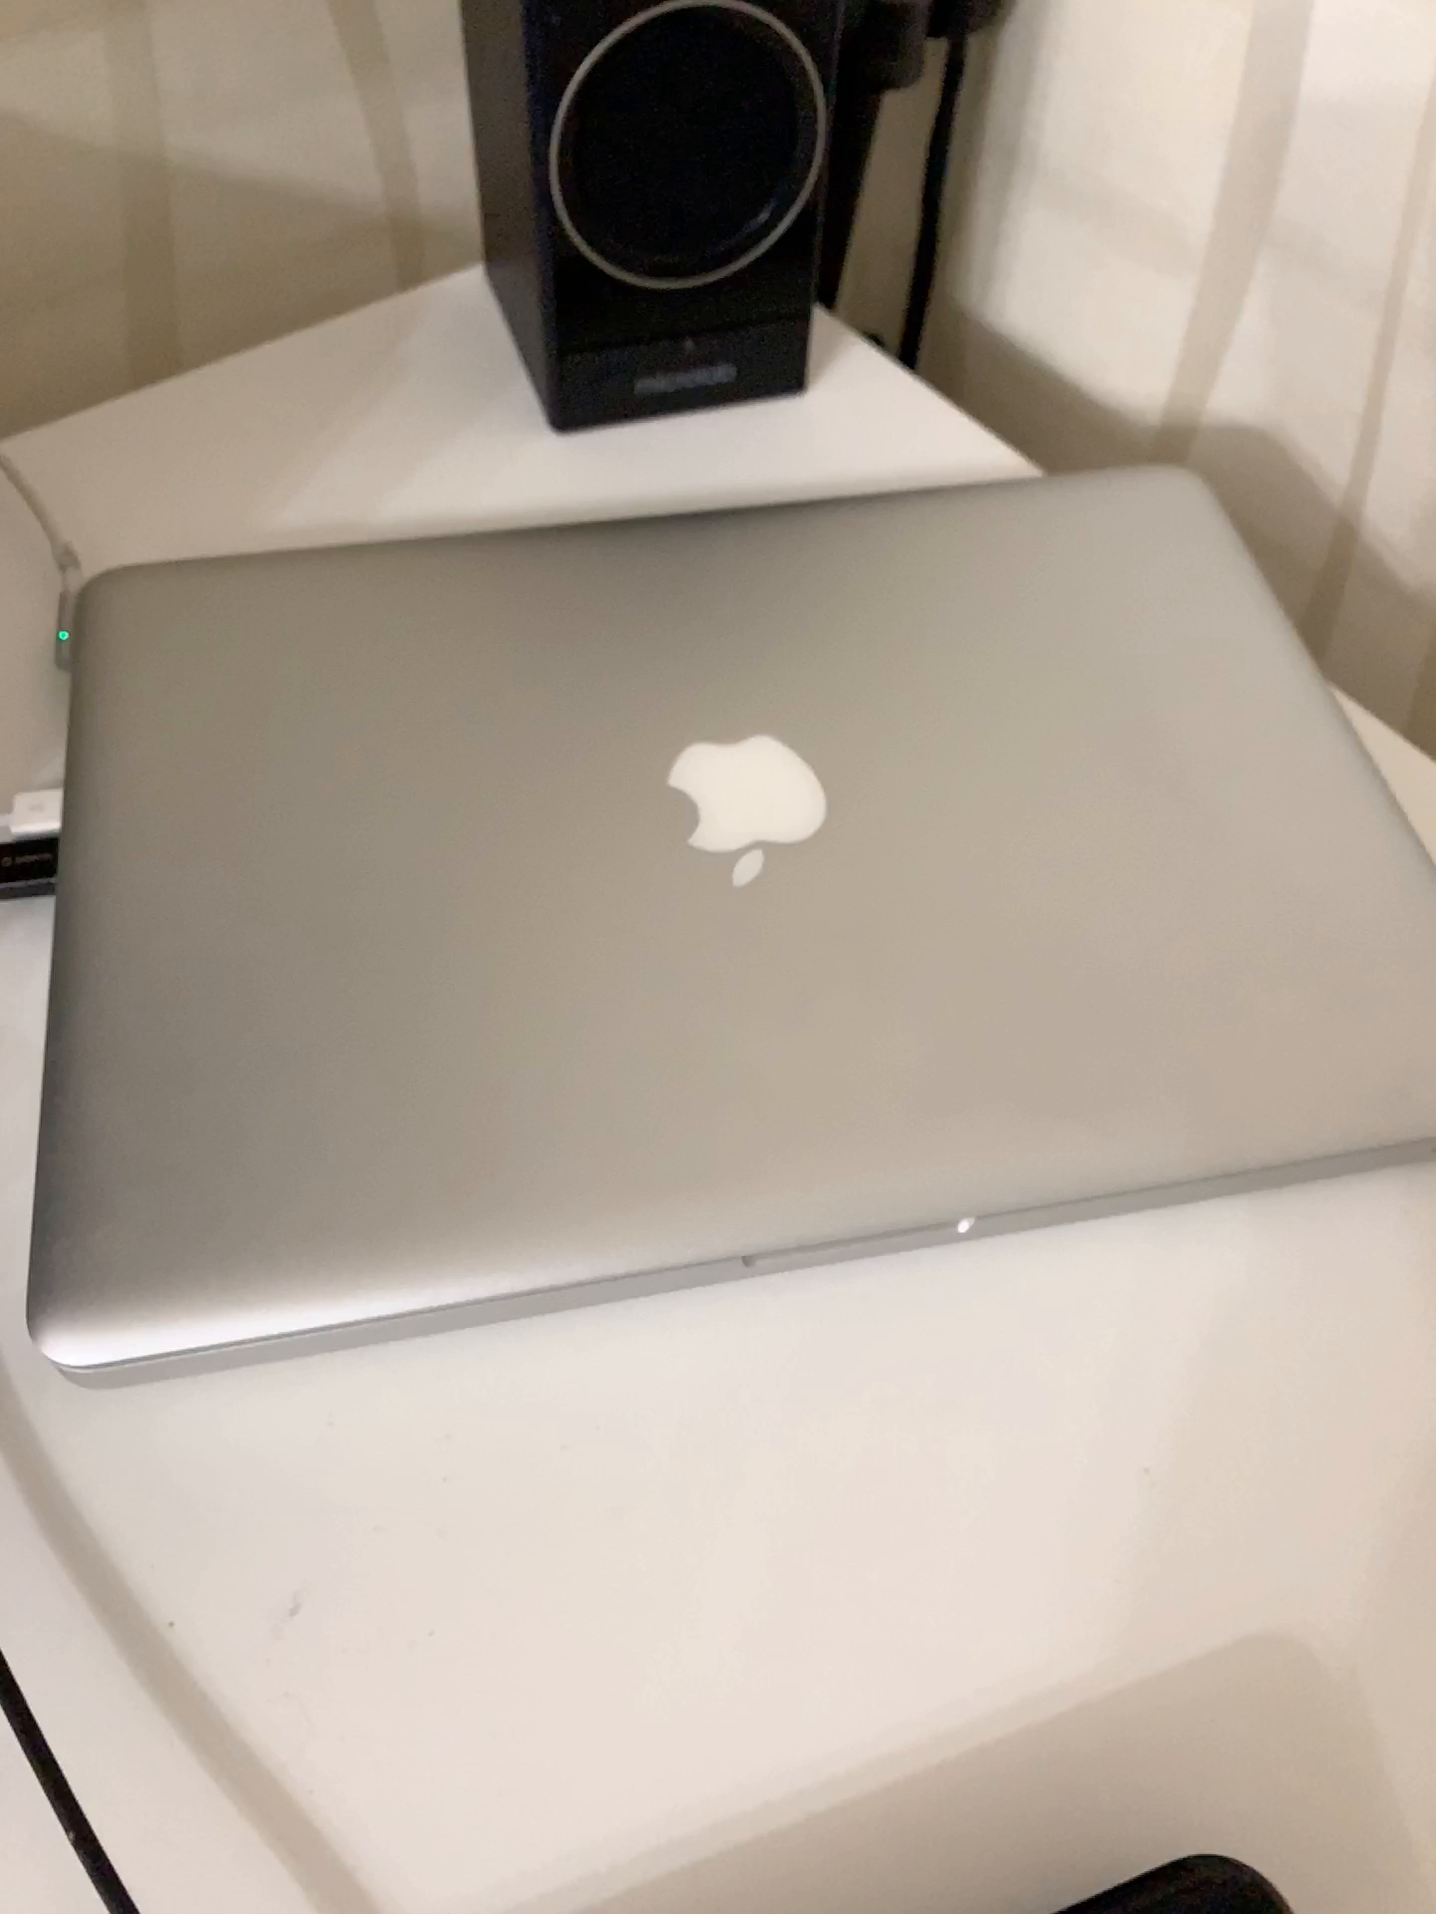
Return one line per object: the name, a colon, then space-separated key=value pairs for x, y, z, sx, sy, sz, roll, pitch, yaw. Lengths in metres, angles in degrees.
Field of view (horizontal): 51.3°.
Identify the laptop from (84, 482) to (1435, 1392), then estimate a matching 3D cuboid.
laptop: x=0.011 y=-0.030 z=0.362 sx=0.305 sy=0.007 sz=0.219 roll=-8 pitch=56 yaw=-10
